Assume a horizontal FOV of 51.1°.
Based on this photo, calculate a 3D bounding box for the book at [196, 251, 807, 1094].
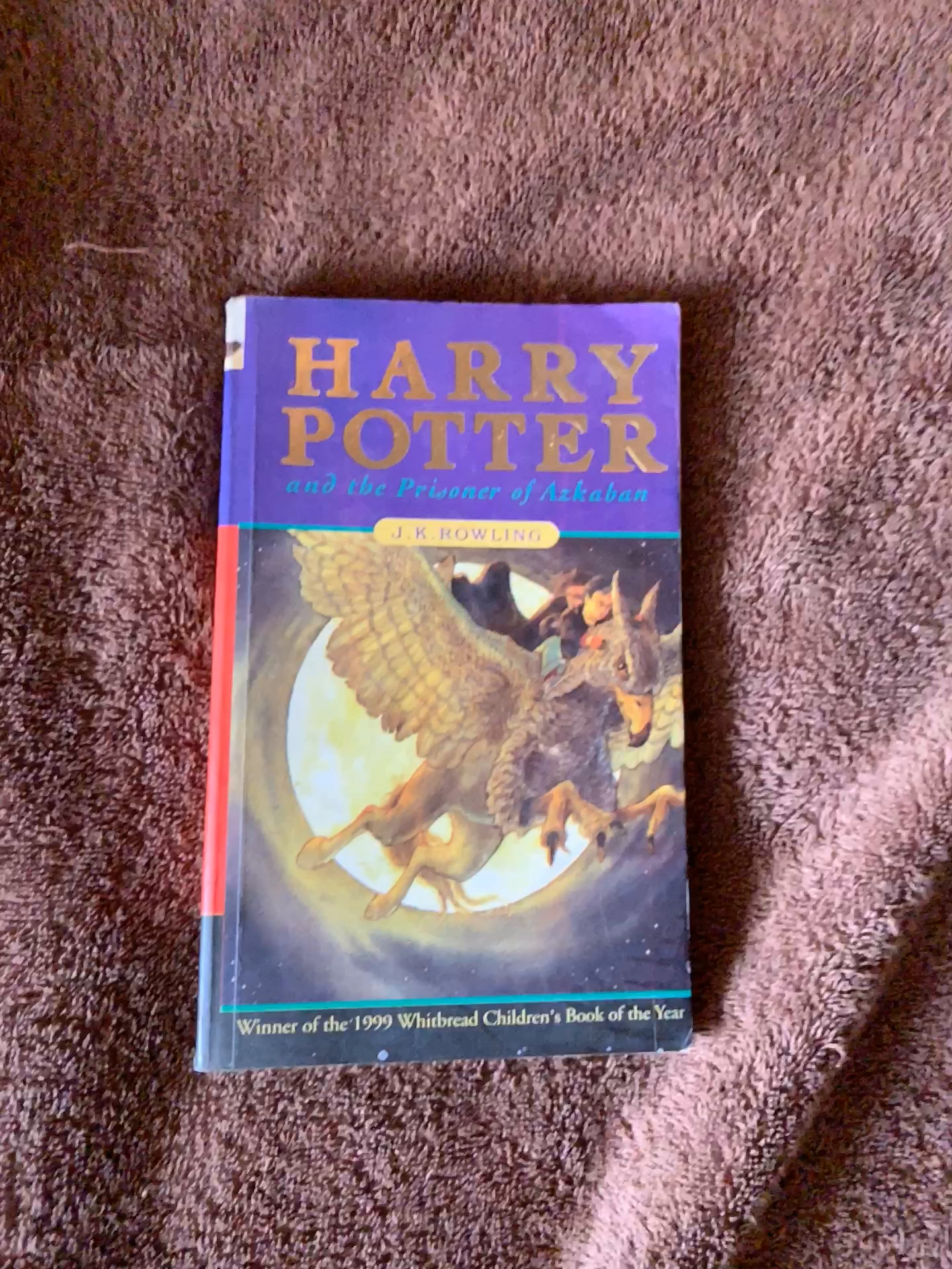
[{"bbox_3d":[0.005,0.005,0.228,0.130,0.020,0.180,-1,85,-5],"label":"book"}]
